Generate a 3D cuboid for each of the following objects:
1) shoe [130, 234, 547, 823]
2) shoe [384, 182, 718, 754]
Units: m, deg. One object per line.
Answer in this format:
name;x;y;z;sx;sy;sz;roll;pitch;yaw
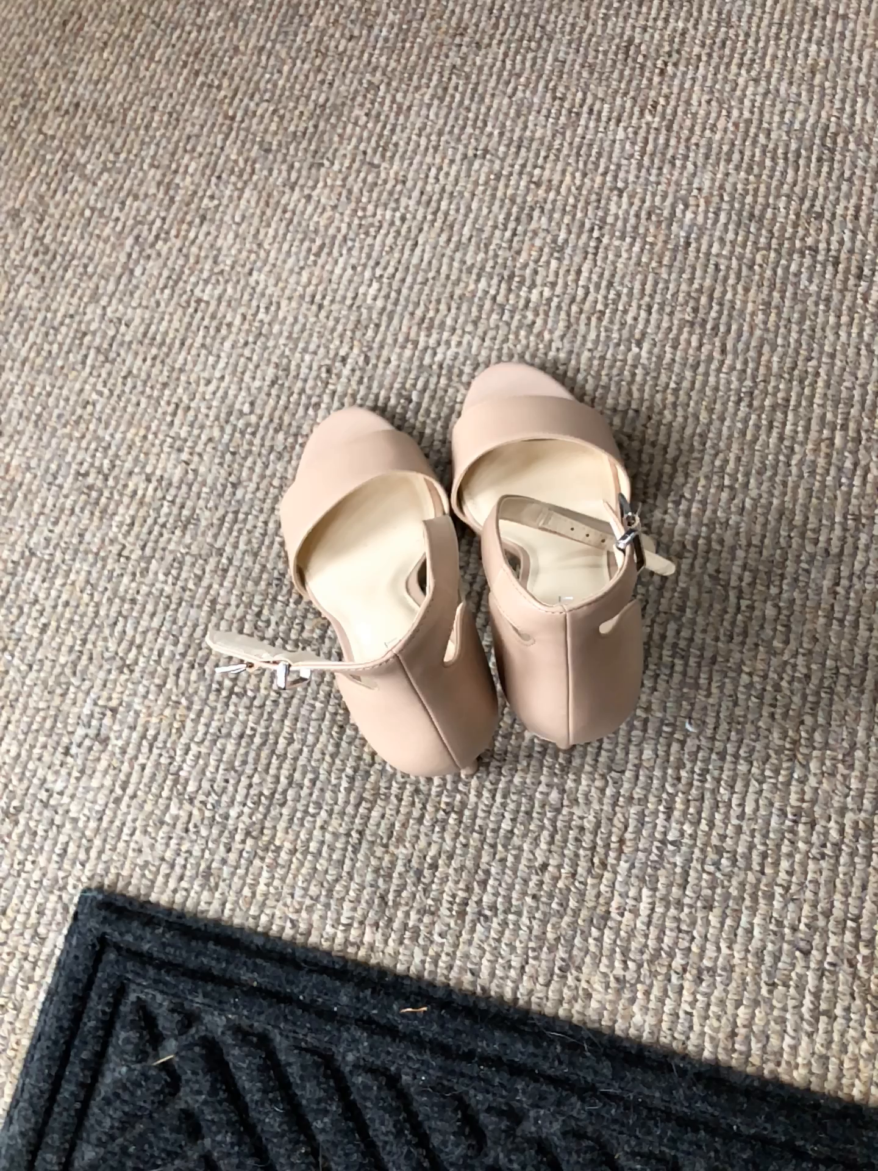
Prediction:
shoe;-0.040;-0.017;0.445;0.105;0.144;0.207;-20;70;-2
shoe;0.044;-0.043;0.453;0.099;0.154;0.207;-8;70;2
